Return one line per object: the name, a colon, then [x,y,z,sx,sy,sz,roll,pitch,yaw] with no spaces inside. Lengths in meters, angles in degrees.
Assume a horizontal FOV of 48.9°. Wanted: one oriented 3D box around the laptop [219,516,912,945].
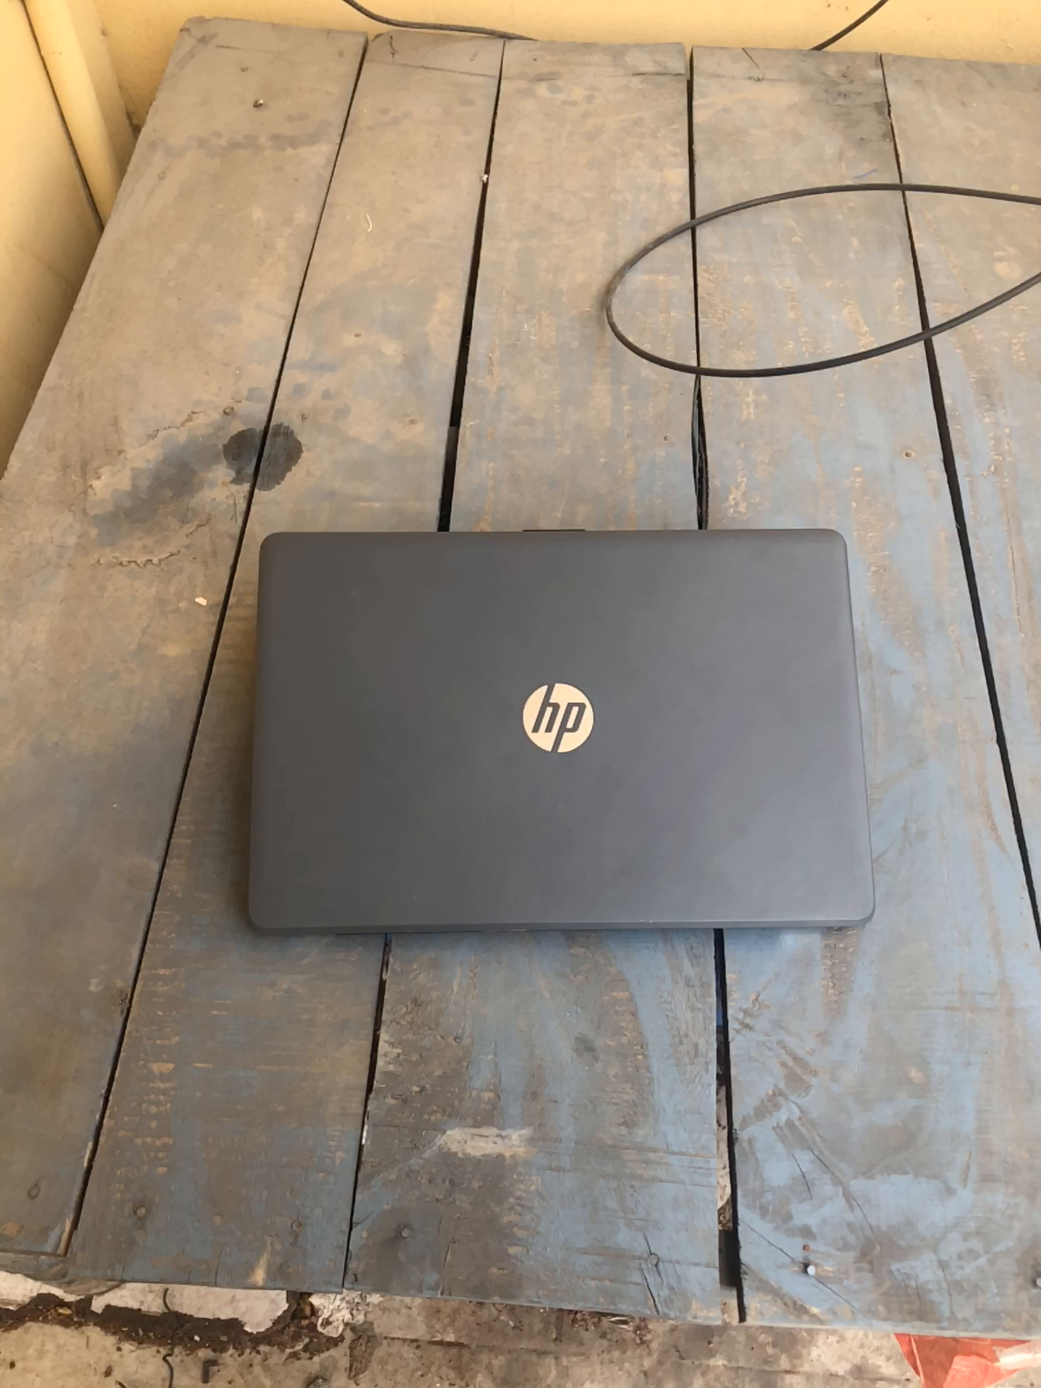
laptop: [0.022,0.017,0.701,0.361,0.096,0.244,-1,58,-1]
